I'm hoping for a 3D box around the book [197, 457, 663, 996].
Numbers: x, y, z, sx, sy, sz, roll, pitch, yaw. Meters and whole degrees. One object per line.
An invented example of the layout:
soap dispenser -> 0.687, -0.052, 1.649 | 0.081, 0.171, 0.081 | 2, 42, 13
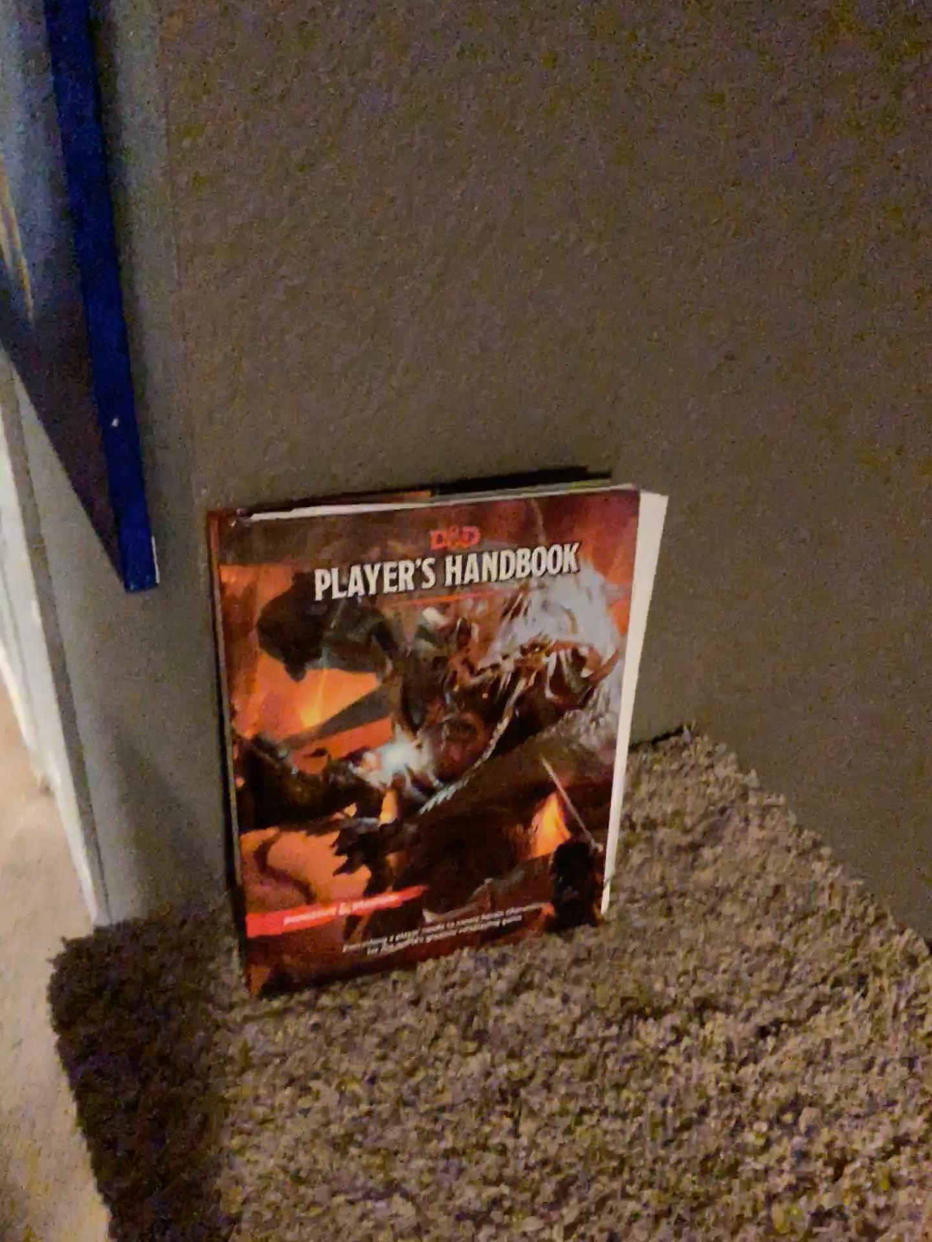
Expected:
book -> -0.019, 0.062, 0.580 | 0.230, 0.290, 0.040 | -7, 28, -19
